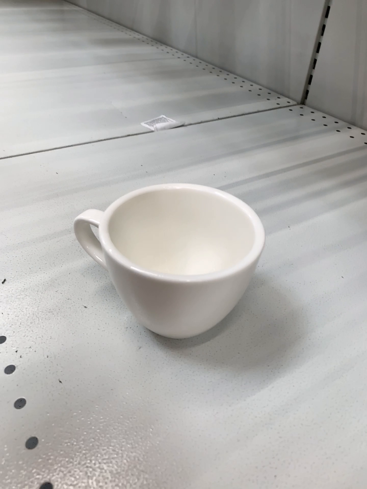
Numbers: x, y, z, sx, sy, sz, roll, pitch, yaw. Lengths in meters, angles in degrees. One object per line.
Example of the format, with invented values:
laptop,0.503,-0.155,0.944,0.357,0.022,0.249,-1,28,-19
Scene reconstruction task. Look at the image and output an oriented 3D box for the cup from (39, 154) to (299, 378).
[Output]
cup,-0.009,0.003,0.254,0.132,0.062,0.095,26,43,24
